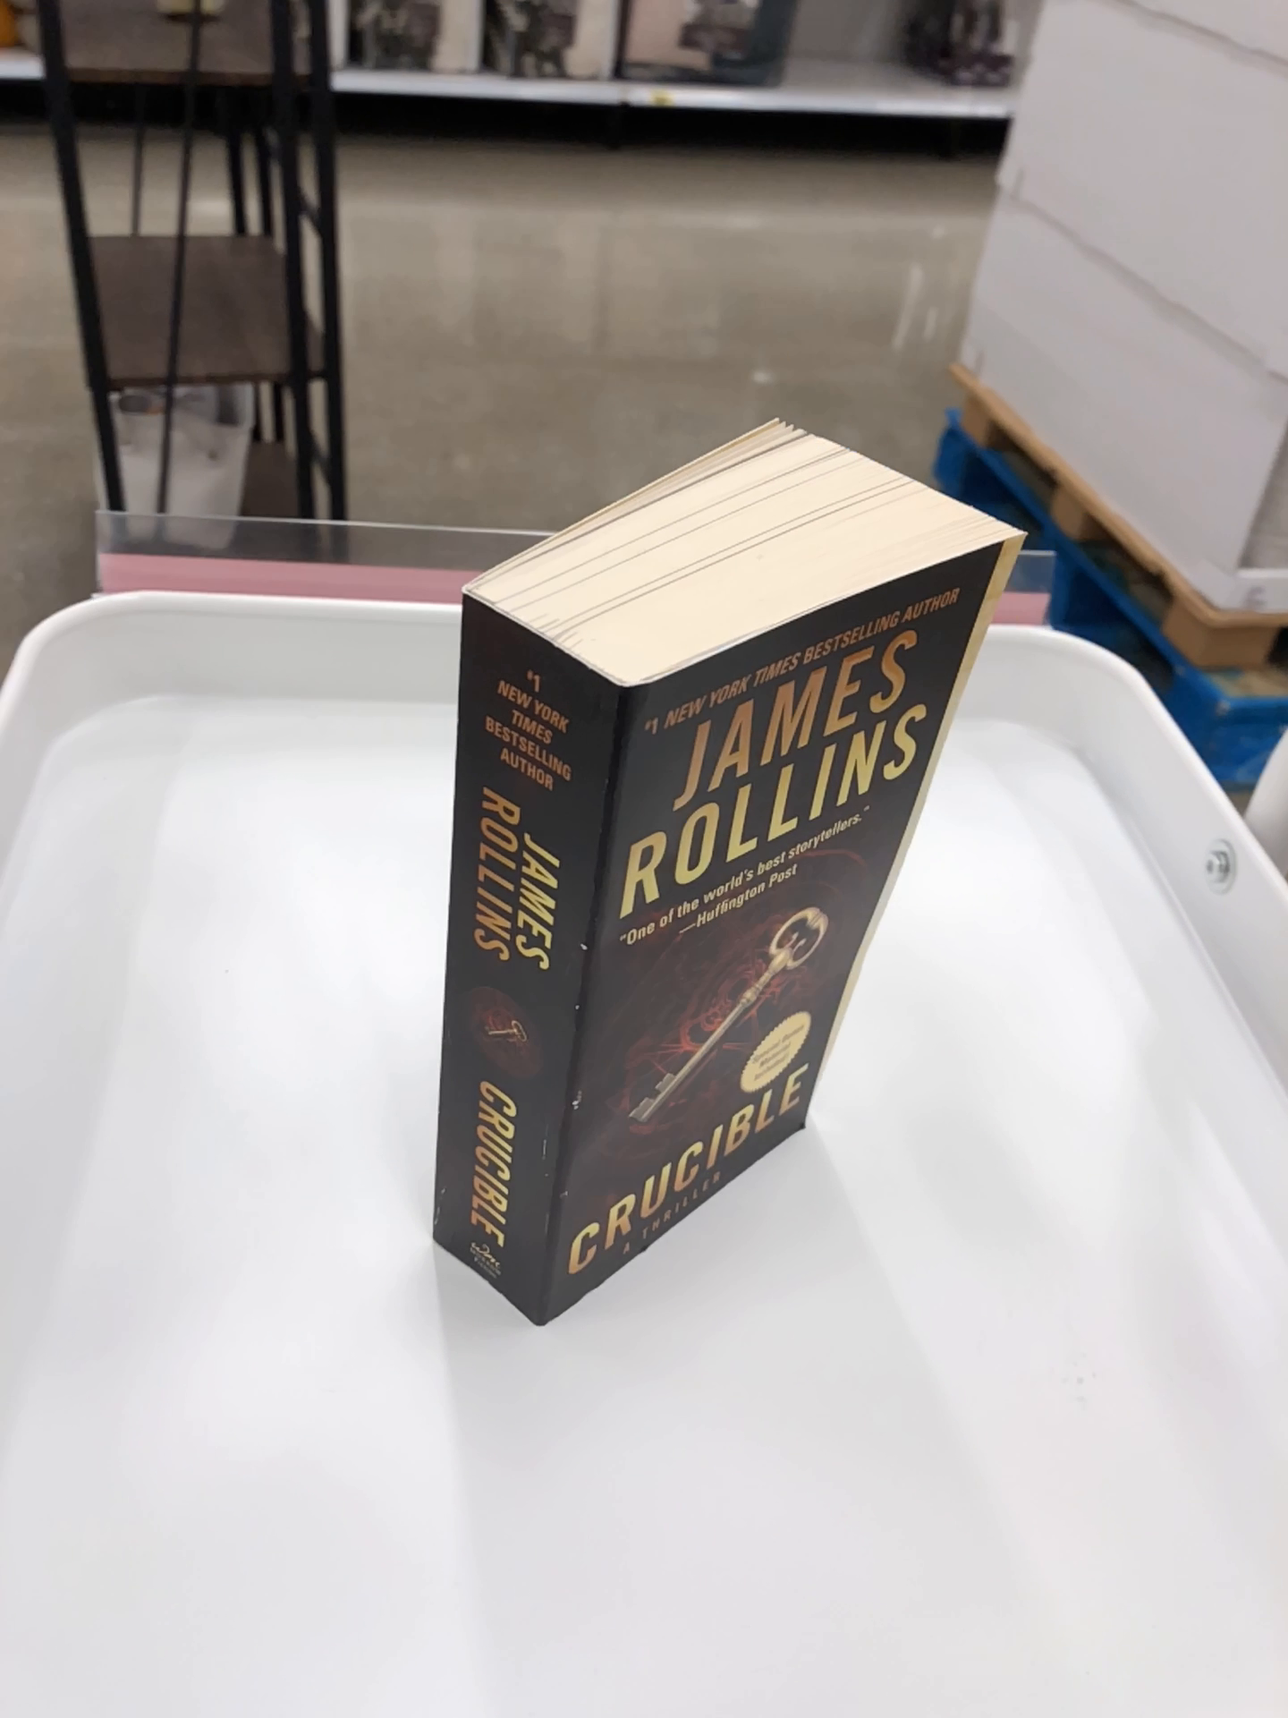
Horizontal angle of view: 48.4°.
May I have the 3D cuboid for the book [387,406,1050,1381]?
[{"bbox_3d":[0.008,0.010,0.324,0.066,0.184,0.113,34,45,28],"label":"book"}]
